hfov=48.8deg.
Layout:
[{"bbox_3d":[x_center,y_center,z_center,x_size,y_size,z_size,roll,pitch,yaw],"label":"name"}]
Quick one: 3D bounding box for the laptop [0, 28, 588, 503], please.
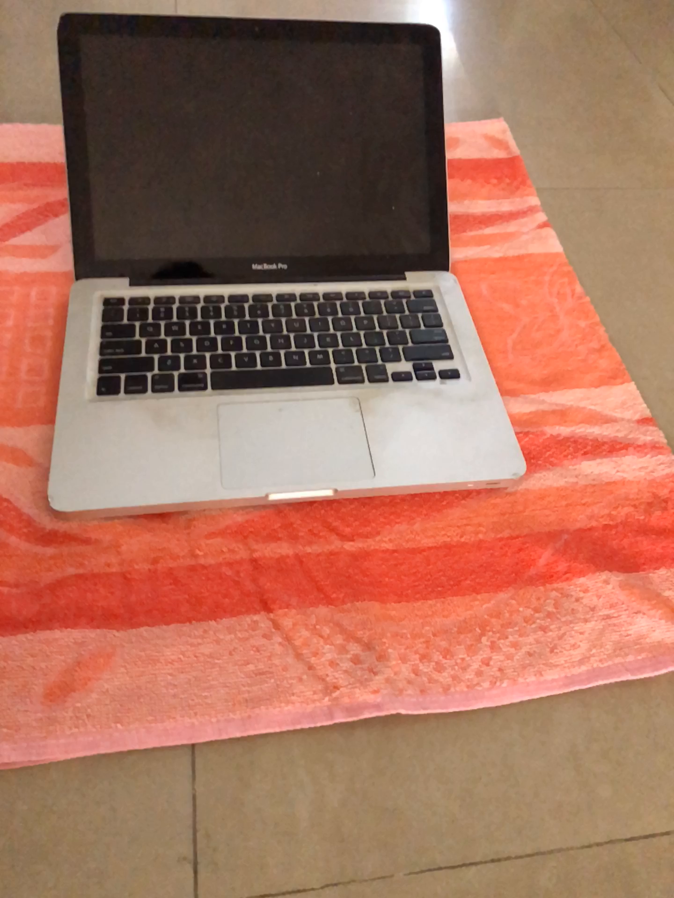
[{"bbox_3d":[-0.046,-0.161,0.554,0.309,0.133,0.374,-3,51,-10],"label":"laptop"}]
